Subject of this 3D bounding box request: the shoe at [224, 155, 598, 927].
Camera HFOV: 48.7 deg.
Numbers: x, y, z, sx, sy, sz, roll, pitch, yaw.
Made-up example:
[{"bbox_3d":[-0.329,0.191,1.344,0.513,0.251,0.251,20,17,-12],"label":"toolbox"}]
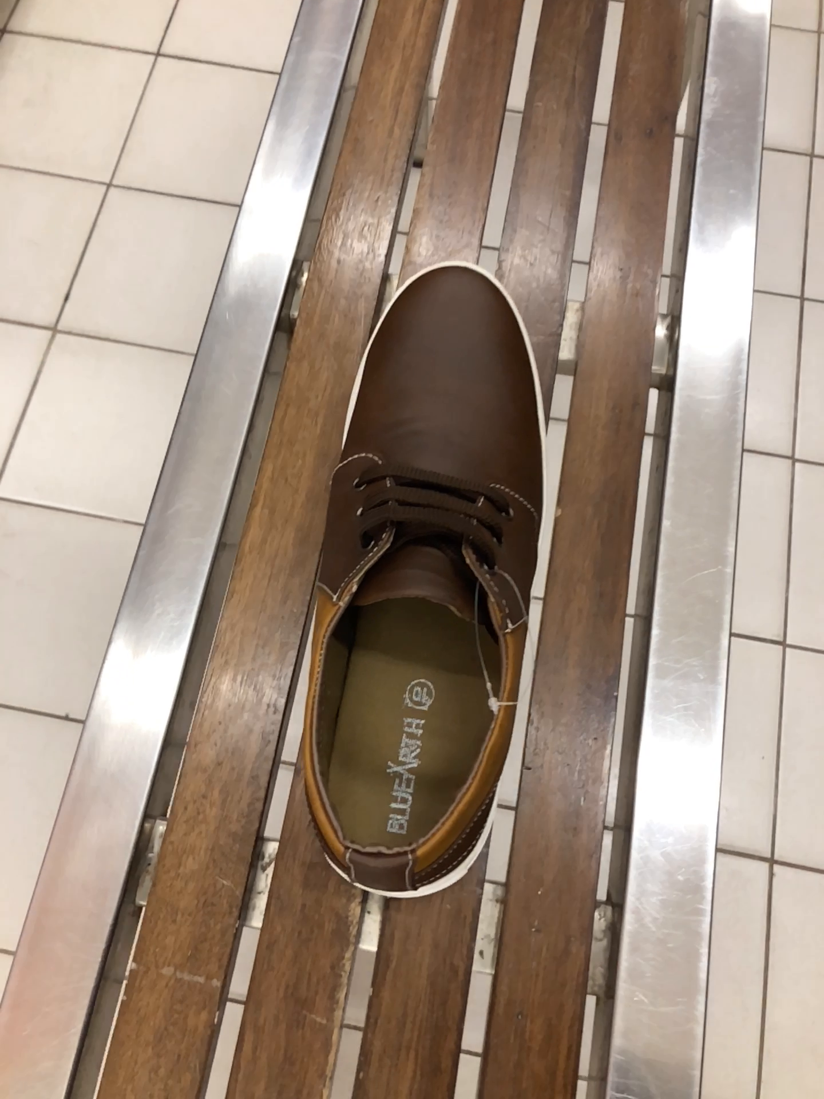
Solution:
[{"bbox_3d":[0.010,-0.013,0.395,0.100,0.080,0.311,8,71,3],"label":"shoe"}]
